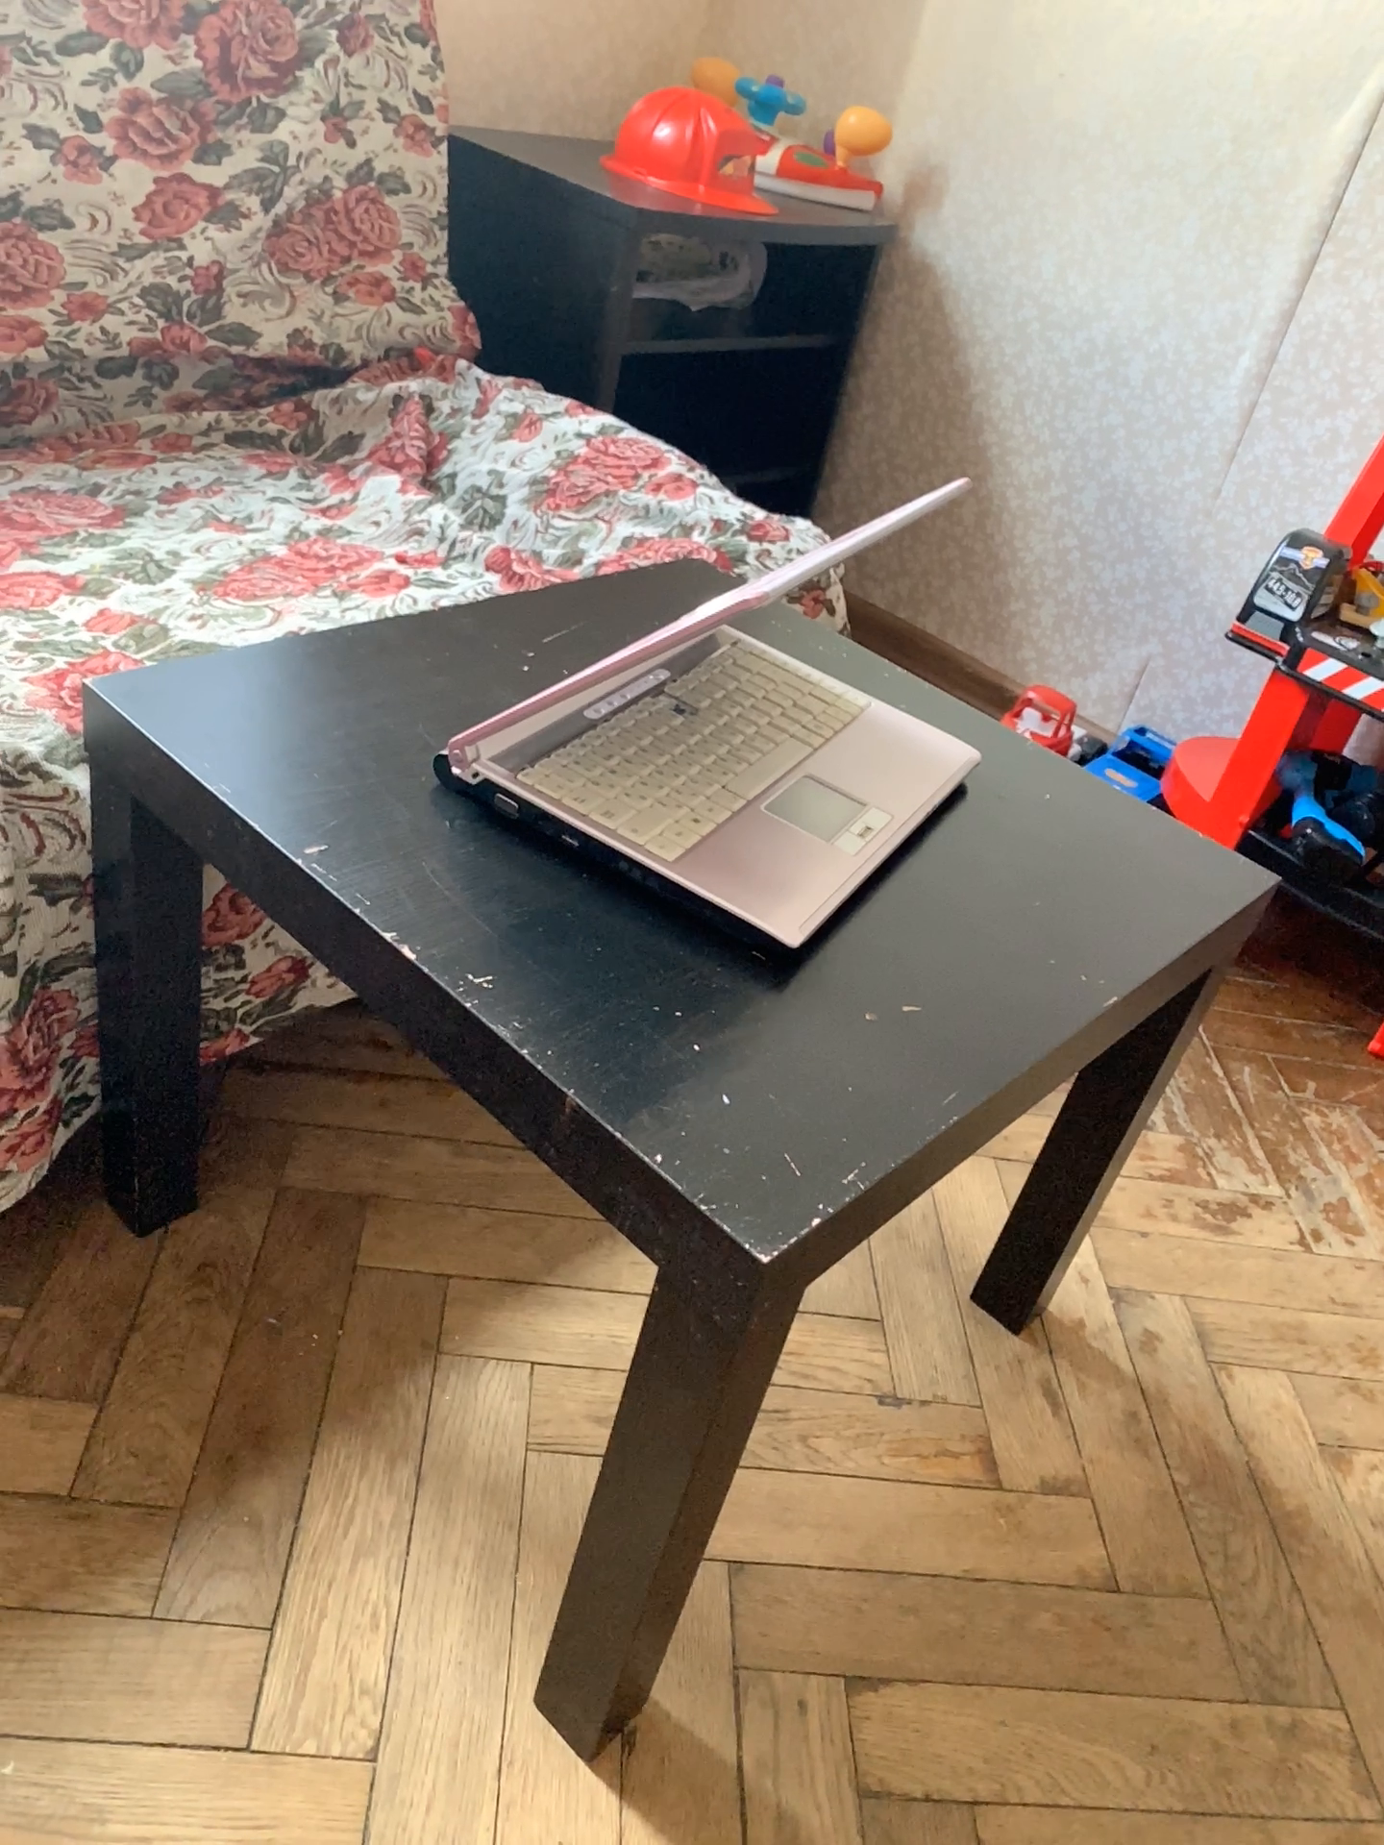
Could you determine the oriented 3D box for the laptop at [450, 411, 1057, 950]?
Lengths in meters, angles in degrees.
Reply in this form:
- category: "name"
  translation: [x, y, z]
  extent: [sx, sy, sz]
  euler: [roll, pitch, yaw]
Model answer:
- category: "laptop"
  translation: [0.047, -0.165, 0.843]
  extent: [0.225, 0.156, 0.307]
  euler: [28, 36, 16]
